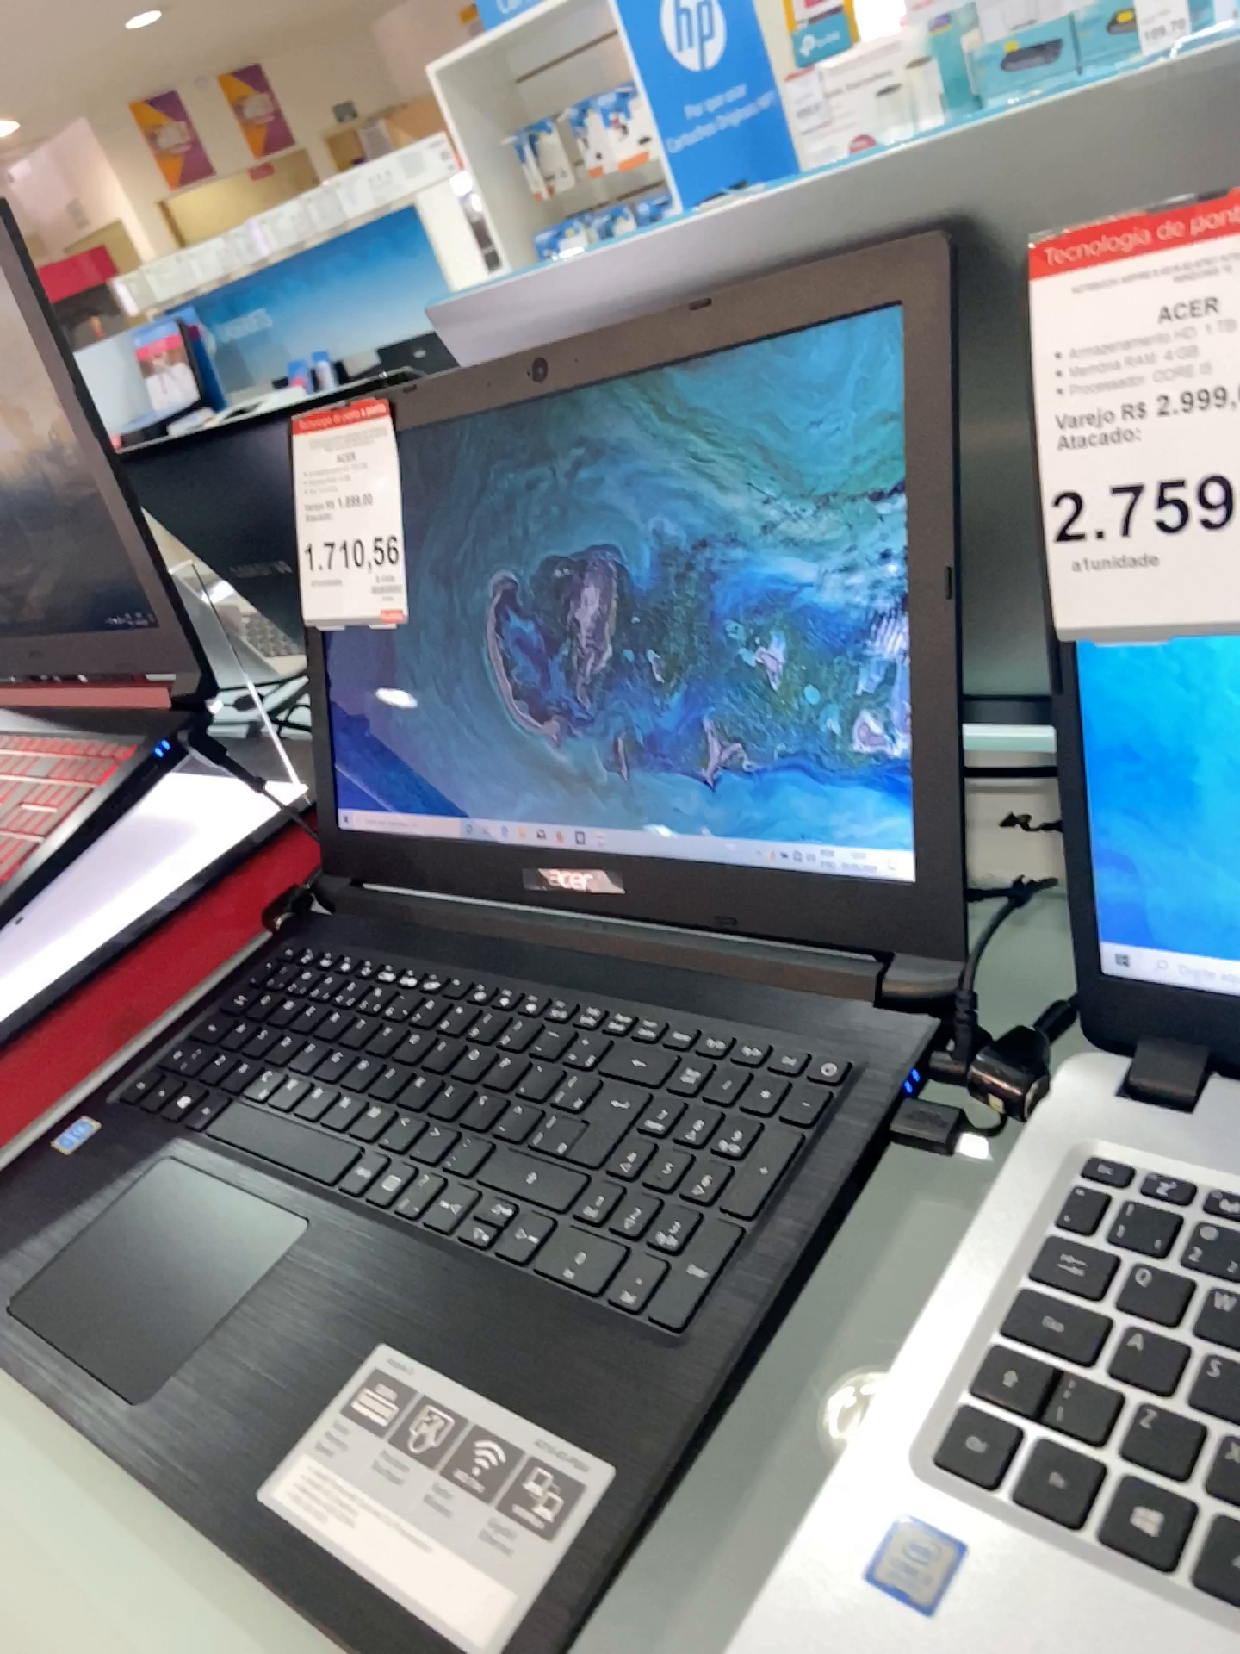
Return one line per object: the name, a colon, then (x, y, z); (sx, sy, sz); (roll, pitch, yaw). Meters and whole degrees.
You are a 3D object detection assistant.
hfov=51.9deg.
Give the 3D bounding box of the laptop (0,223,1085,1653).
laptop: (-0.100, -0.004, 0.474); (0.377, 0.216, 0.381); (3, 38, 42)
